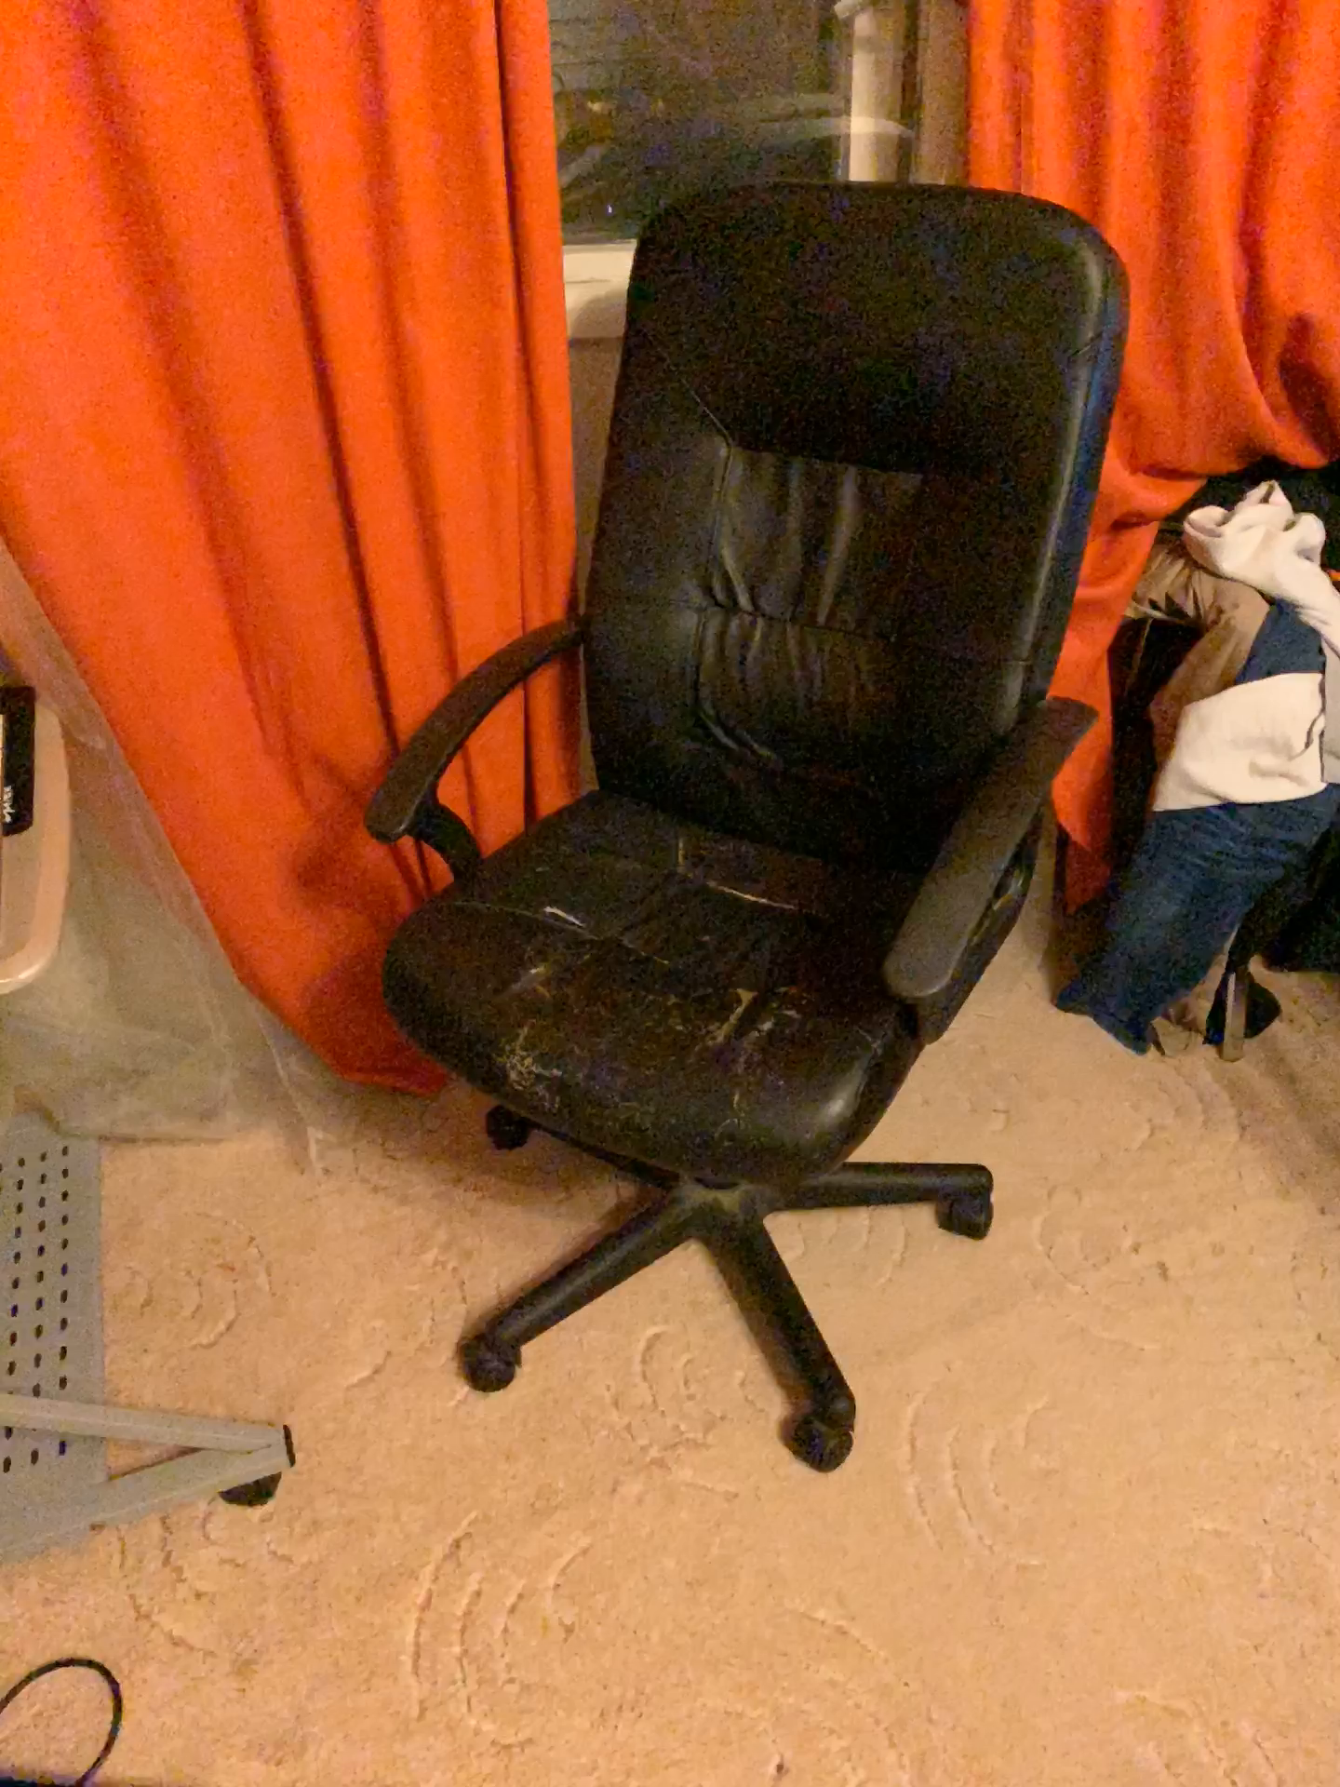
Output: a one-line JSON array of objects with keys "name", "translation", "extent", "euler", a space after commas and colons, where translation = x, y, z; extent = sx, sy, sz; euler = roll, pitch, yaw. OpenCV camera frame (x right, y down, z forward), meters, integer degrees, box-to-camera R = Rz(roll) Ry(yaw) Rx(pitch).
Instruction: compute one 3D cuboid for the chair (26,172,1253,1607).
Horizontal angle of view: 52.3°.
[{"name": "chair", "translation": [0.044, -0.059, 1.415], "extent": [0.711, 1.123, 0.744], "euler": [16, 38, 26]}]
